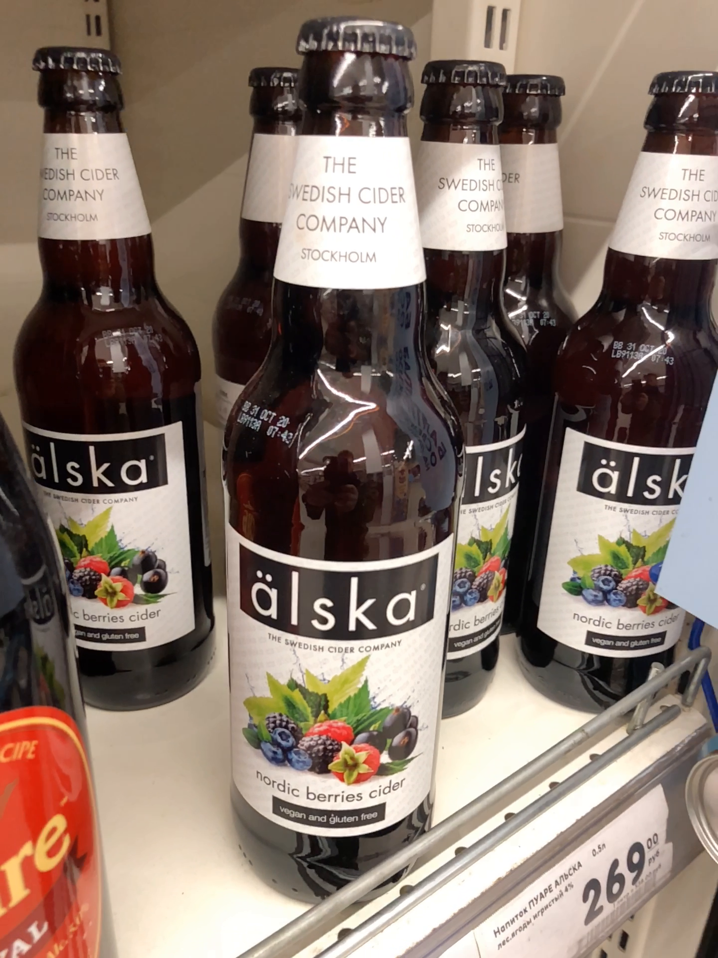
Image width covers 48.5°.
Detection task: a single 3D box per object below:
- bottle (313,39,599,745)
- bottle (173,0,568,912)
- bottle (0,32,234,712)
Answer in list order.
[{"bbox_3d":[0.030,-0.027,0.309,0.063,0.244,0.070,21,29,39],"label":"bottle"},{"bbox_3d":[-0.001,0.006,0.214,0.070,0.229,0.063,2,23,-1],"label":"bottle"},{"bbox_3d":[-0.094,-0.032,0.306,0.075,0.235,0.077,2,23,-1],"label":"bottle"}]
